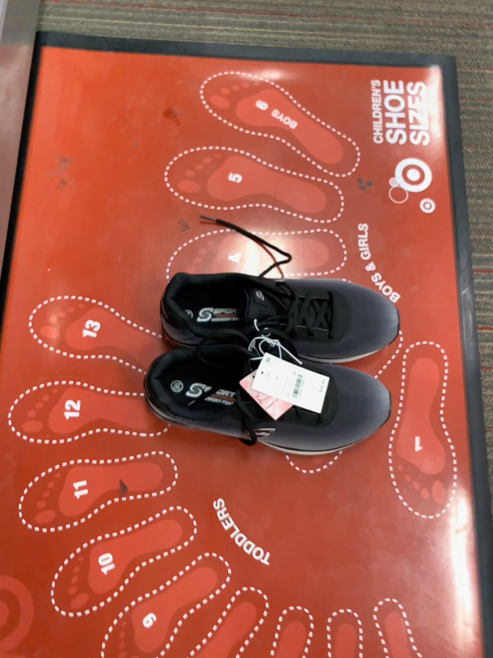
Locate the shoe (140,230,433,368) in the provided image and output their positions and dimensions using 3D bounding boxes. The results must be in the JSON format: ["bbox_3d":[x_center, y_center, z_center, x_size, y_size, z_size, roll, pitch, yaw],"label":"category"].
[{"bbox_3d":[0.036,-0.025,0.509,0.260,0.100,0.100,3,76,-2],"label":"shoe"}]

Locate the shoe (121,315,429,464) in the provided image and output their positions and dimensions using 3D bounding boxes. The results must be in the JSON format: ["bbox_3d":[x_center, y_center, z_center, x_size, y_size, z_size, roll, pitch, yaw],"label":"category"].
[{"bbox_3d":[0.027,0.063,0.489,0.260,0.100,0.100,7,76,-1],"label":"shoe"}]
